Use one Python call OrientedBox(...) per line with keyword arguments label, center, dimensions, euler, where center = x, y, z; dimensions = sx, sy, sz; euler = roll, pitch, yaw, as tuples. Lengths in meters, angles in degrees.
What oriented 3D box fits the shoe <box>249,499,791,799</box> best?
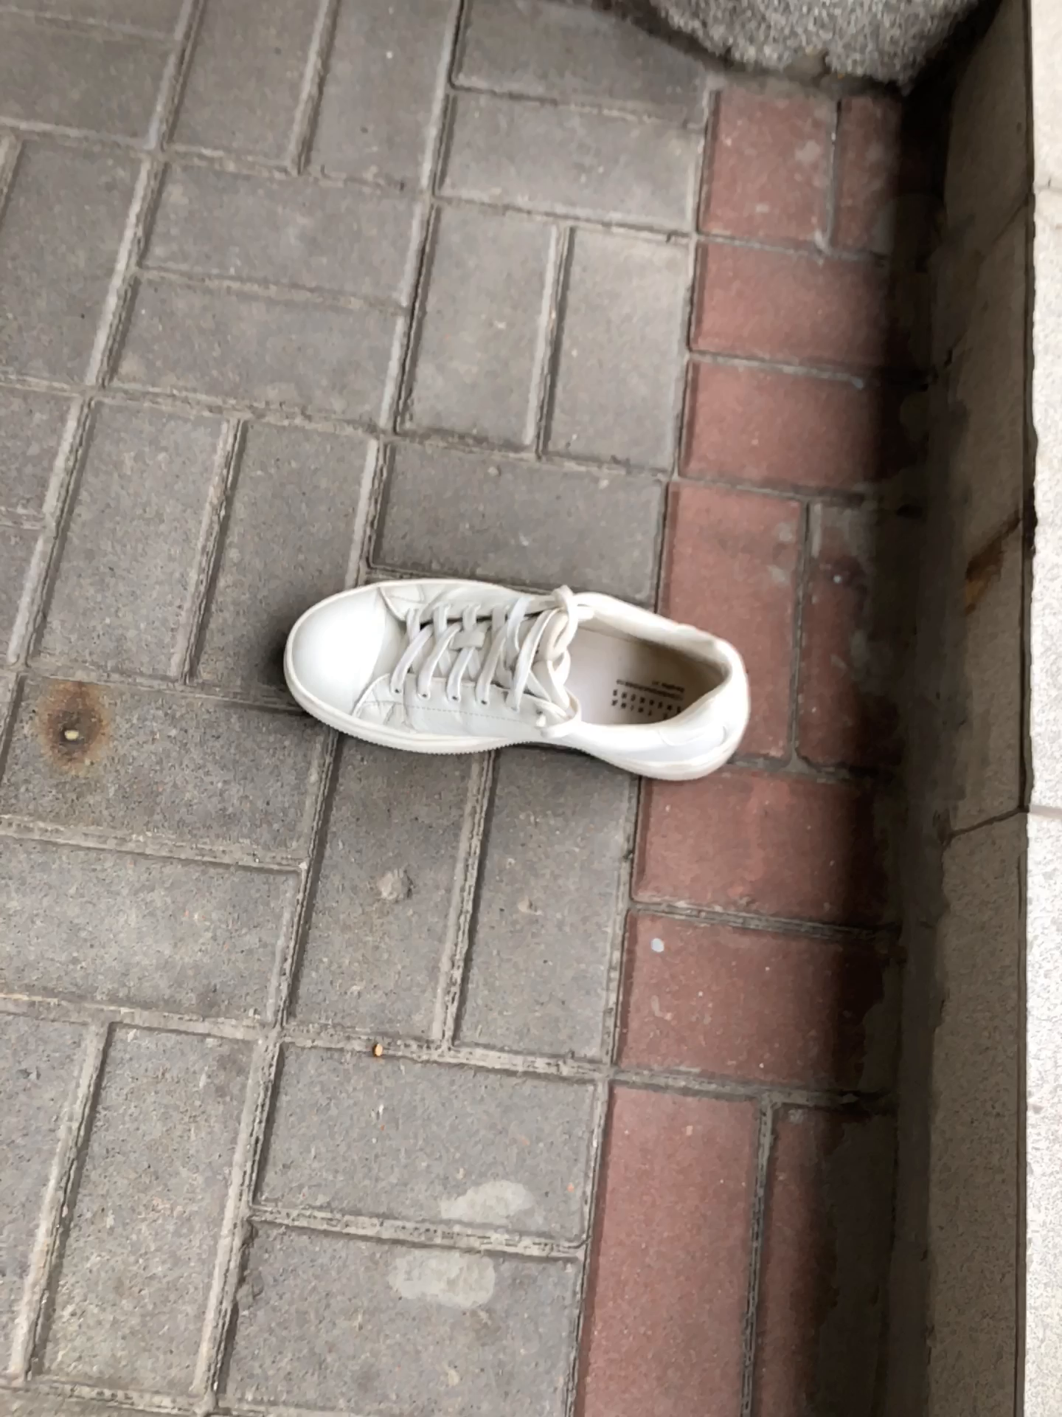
OrientedBox(label="shoe", center=(-0.007, -0.029, 0.709), dimensions=(0.292, 0.120, 0.110), euler=(9, 76, -4))
